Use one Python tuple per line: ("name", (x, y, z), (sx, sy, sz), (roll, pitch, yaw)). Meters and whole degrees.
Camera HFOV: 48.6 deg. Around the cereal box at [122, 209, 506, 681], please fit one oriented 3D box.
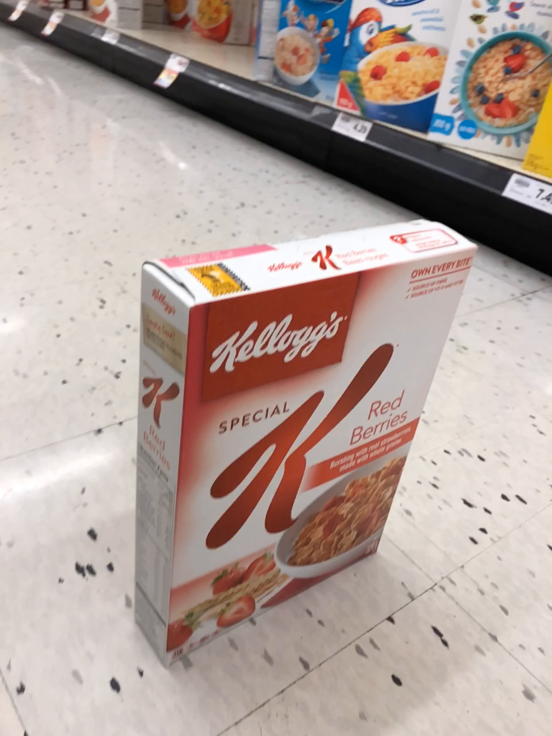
("cereal box", (0.015, 0.045, 0.384), (0.211, 0.258, 0.060), (-16, 40, -34))
